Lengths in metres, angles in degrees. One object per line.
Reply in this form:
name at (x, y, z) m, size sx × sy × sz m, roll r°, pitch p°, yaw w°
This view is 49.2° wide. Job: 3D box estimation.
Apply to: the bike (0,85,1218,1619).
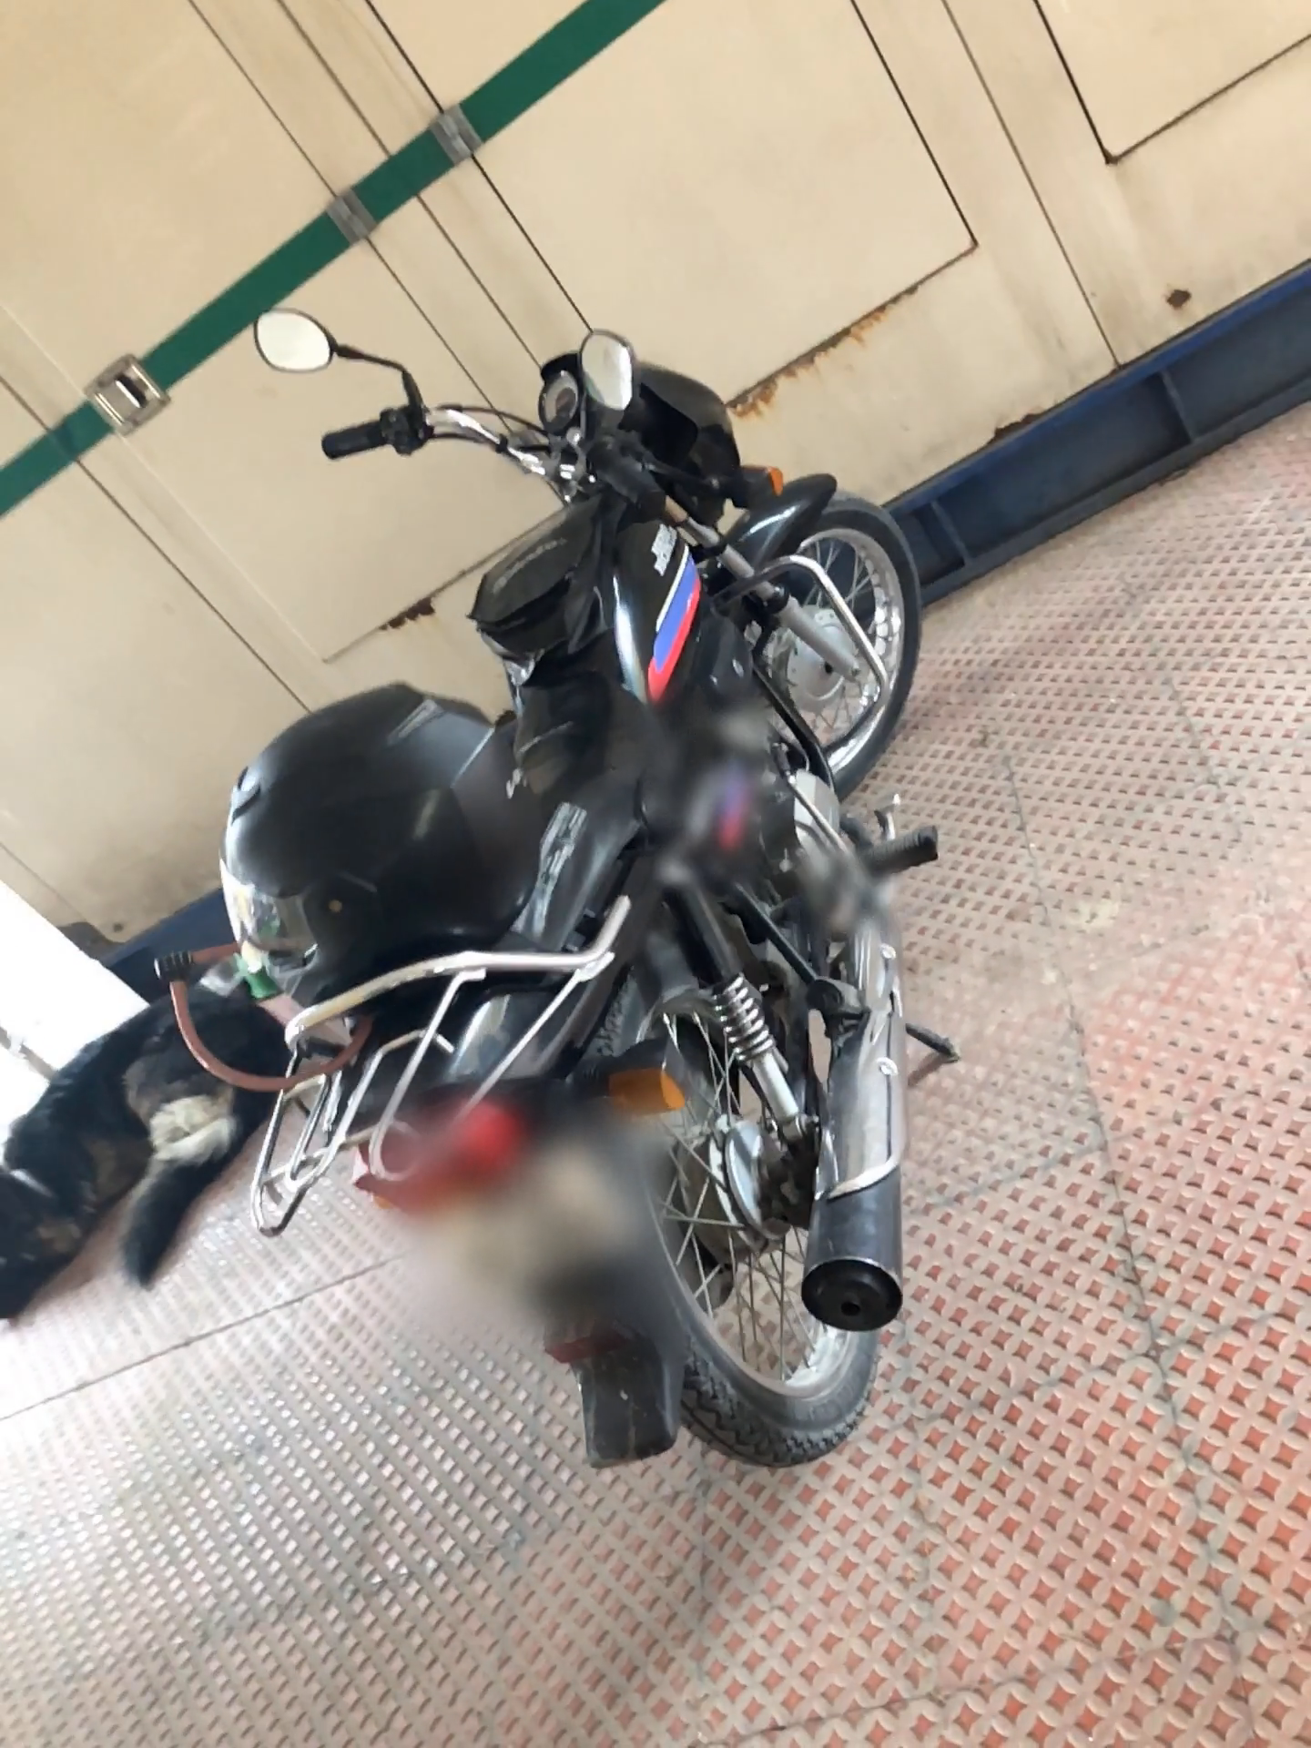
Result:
bike at (0.146, -0.173, 1.998) m, size 0.735 × 1.088 × 1.867 m, roll -21°, pitch 31°, yaw 30°
